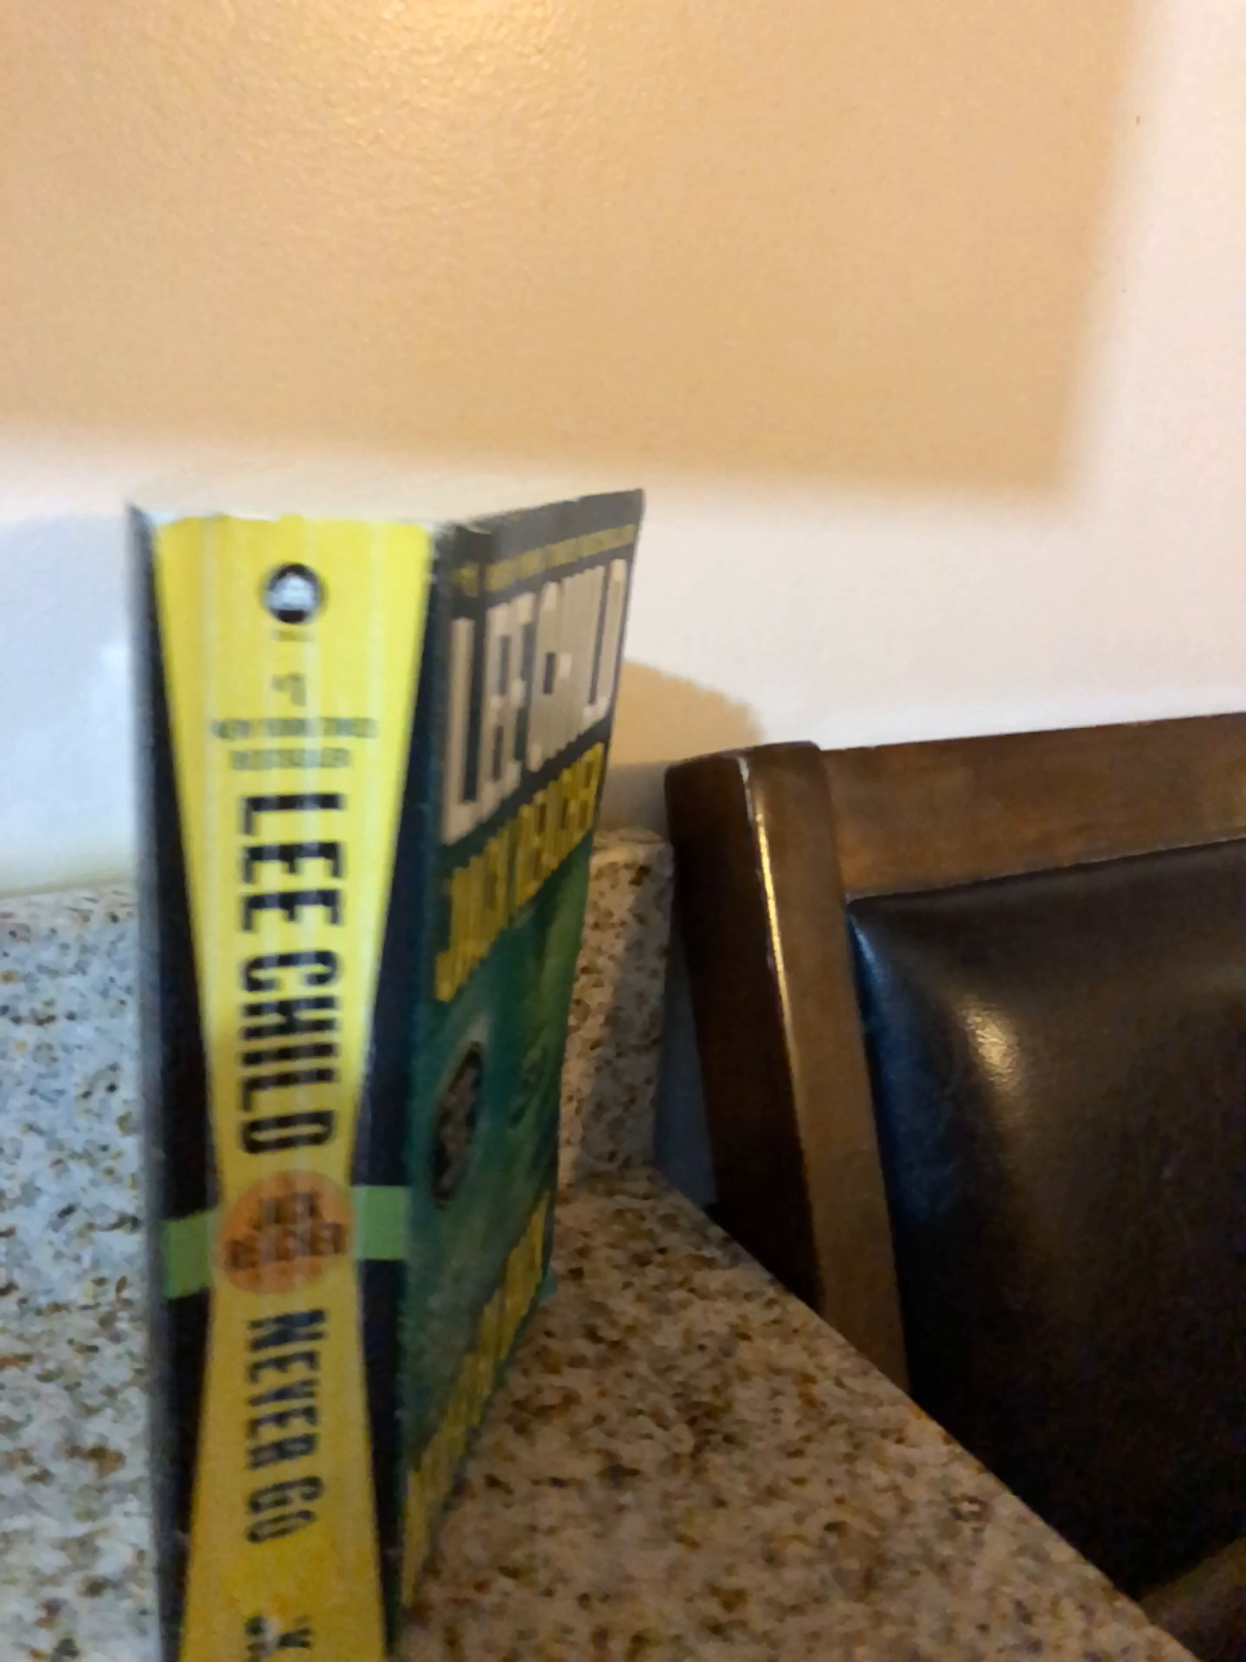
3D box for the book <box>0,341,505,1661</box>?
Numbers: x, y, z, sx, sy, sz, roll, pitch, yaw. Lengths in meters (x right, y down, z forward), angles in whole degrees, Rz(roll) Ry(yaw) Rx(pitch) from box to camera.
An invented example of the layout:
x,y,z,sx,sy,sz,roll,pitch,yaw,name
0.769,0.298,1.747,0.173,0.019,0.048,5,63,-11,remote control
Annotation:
x,y,z,sx,sy,sz,roll,pitch,yaw,name
-0.060,0.028,0.266,0.050,0.219,0.161,5,16,-4,book
